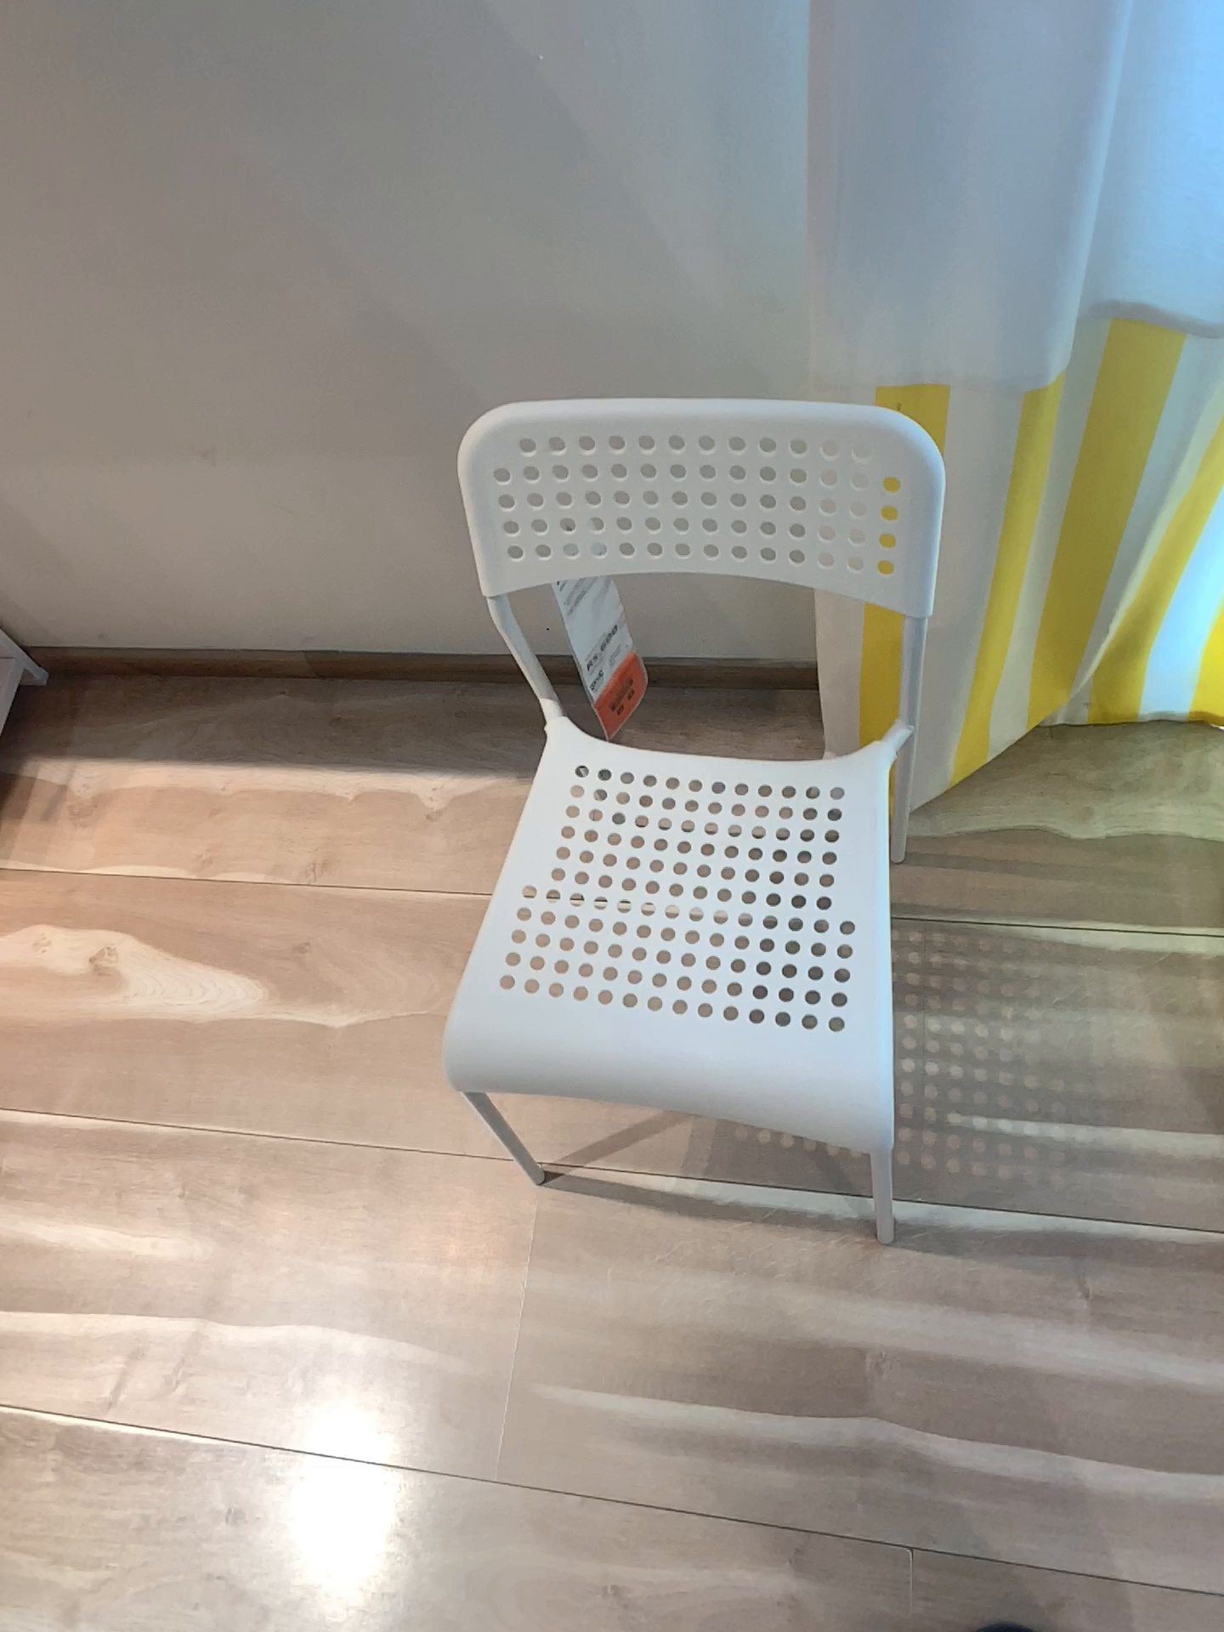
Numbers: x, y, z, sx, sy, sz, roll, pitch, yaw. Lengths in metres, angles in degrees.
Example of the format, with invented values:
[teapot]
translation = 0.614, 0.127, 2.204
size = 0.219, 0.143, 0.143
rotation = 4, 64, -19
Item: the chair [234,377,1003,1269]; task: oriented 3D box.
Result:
[chair]
translation = 0.081, 0.054, 1.119
size = 0.440, 0.659, 0.531
rotation = 4, 64, 13
